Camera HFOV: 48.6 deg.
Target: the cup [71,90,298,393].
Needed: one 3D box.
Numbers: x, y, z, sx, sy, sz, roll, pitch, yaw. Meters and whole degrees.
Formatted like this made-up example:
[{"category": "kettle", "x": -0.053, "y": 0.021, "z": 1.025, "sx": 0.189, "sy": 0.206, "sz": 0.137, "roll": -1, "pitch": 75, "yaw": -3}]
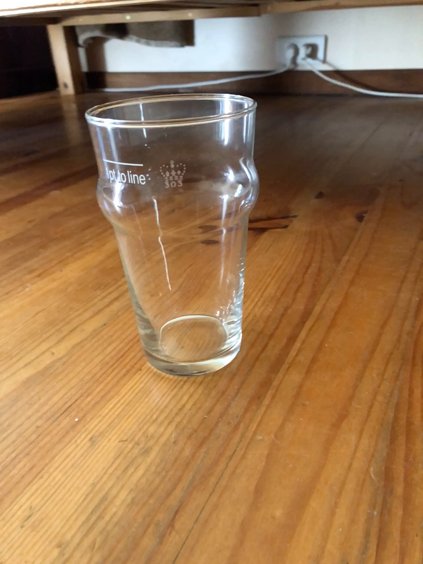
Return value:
[{"category": "cup", "x": -0.004, "y": -0.028, "z": 0.286, "sx": 0.094, "sy": 0.151, "sz": 0.092, "roll": -3, "pitch": 31, "yaw": 2}]
